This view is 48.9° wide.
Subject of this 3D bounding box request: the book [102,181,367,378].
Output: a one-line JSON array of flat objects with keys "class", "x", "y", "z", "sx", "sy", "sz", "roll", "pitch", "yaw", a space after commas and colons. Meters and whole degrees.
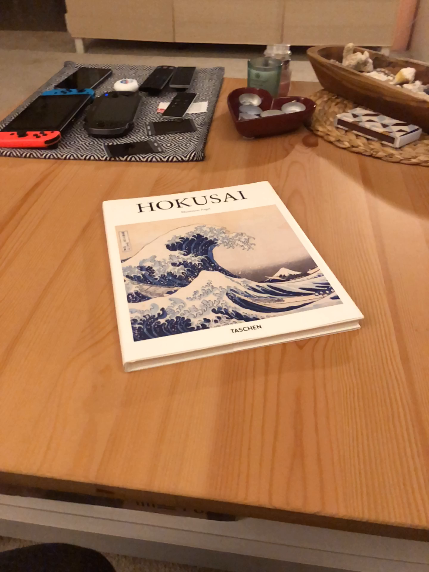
[{"class": "book", "x": 0.000, "y": -0.029, "z": 0.489, "sx": 0.210, "sy": 0.020, "sz": 0.253, "roll": -9, "pitch": 41, "yaw": -11}]
